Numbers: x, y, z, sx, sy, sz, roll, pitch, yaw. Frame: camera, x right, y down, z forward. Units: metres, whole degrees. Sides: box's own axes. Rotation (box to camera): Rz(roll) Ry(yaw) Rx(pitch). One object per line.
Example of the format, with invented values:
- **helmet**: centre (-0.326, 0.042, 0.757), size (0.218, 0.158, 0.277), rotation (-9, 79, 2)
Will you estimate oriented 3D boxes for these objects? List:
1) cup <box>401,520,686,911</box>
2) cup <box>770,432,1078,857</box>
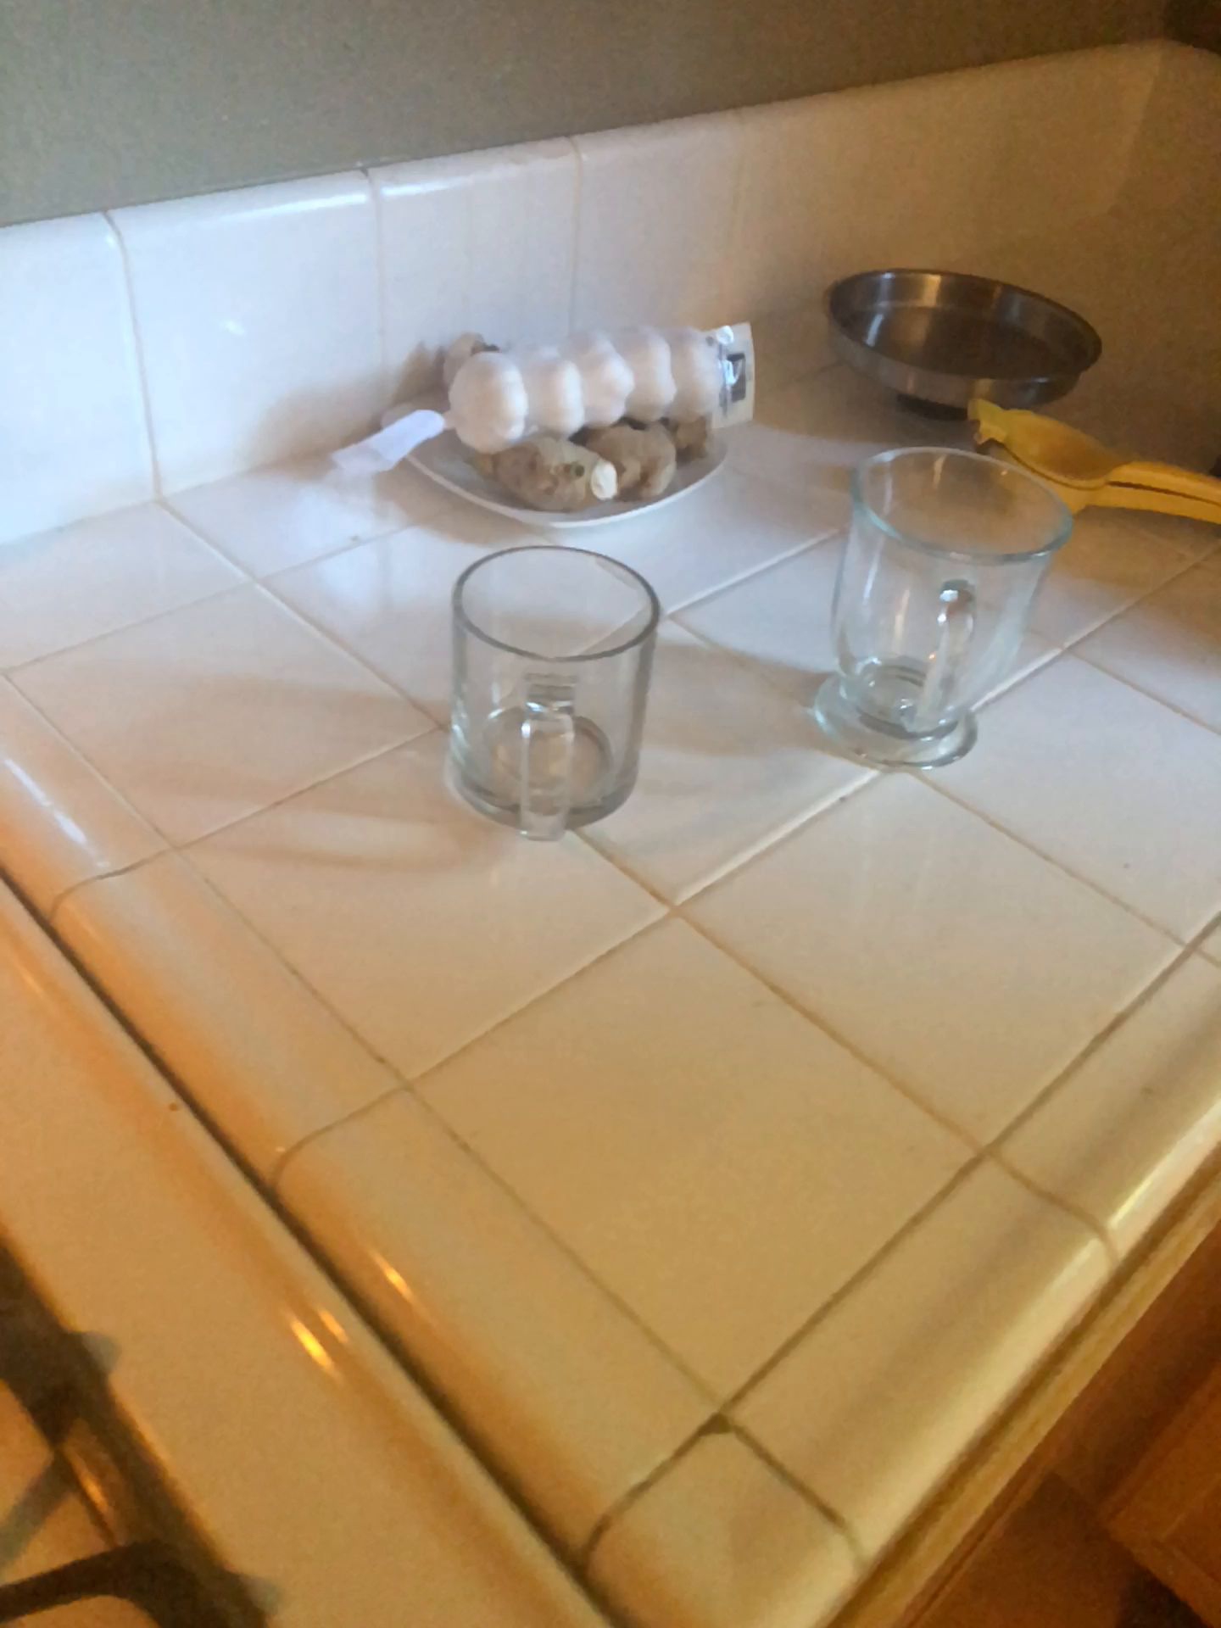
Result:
- **cup**: centre (-0.026, -0.044, 0.563), size (0.090, 0.089, 0.131), rotation (10, 42, 3)
- **cup**: centre (0.140, -0.078, 0.600), size (0.090, 0.119, 0.131), rotation (16, 42, 10)
